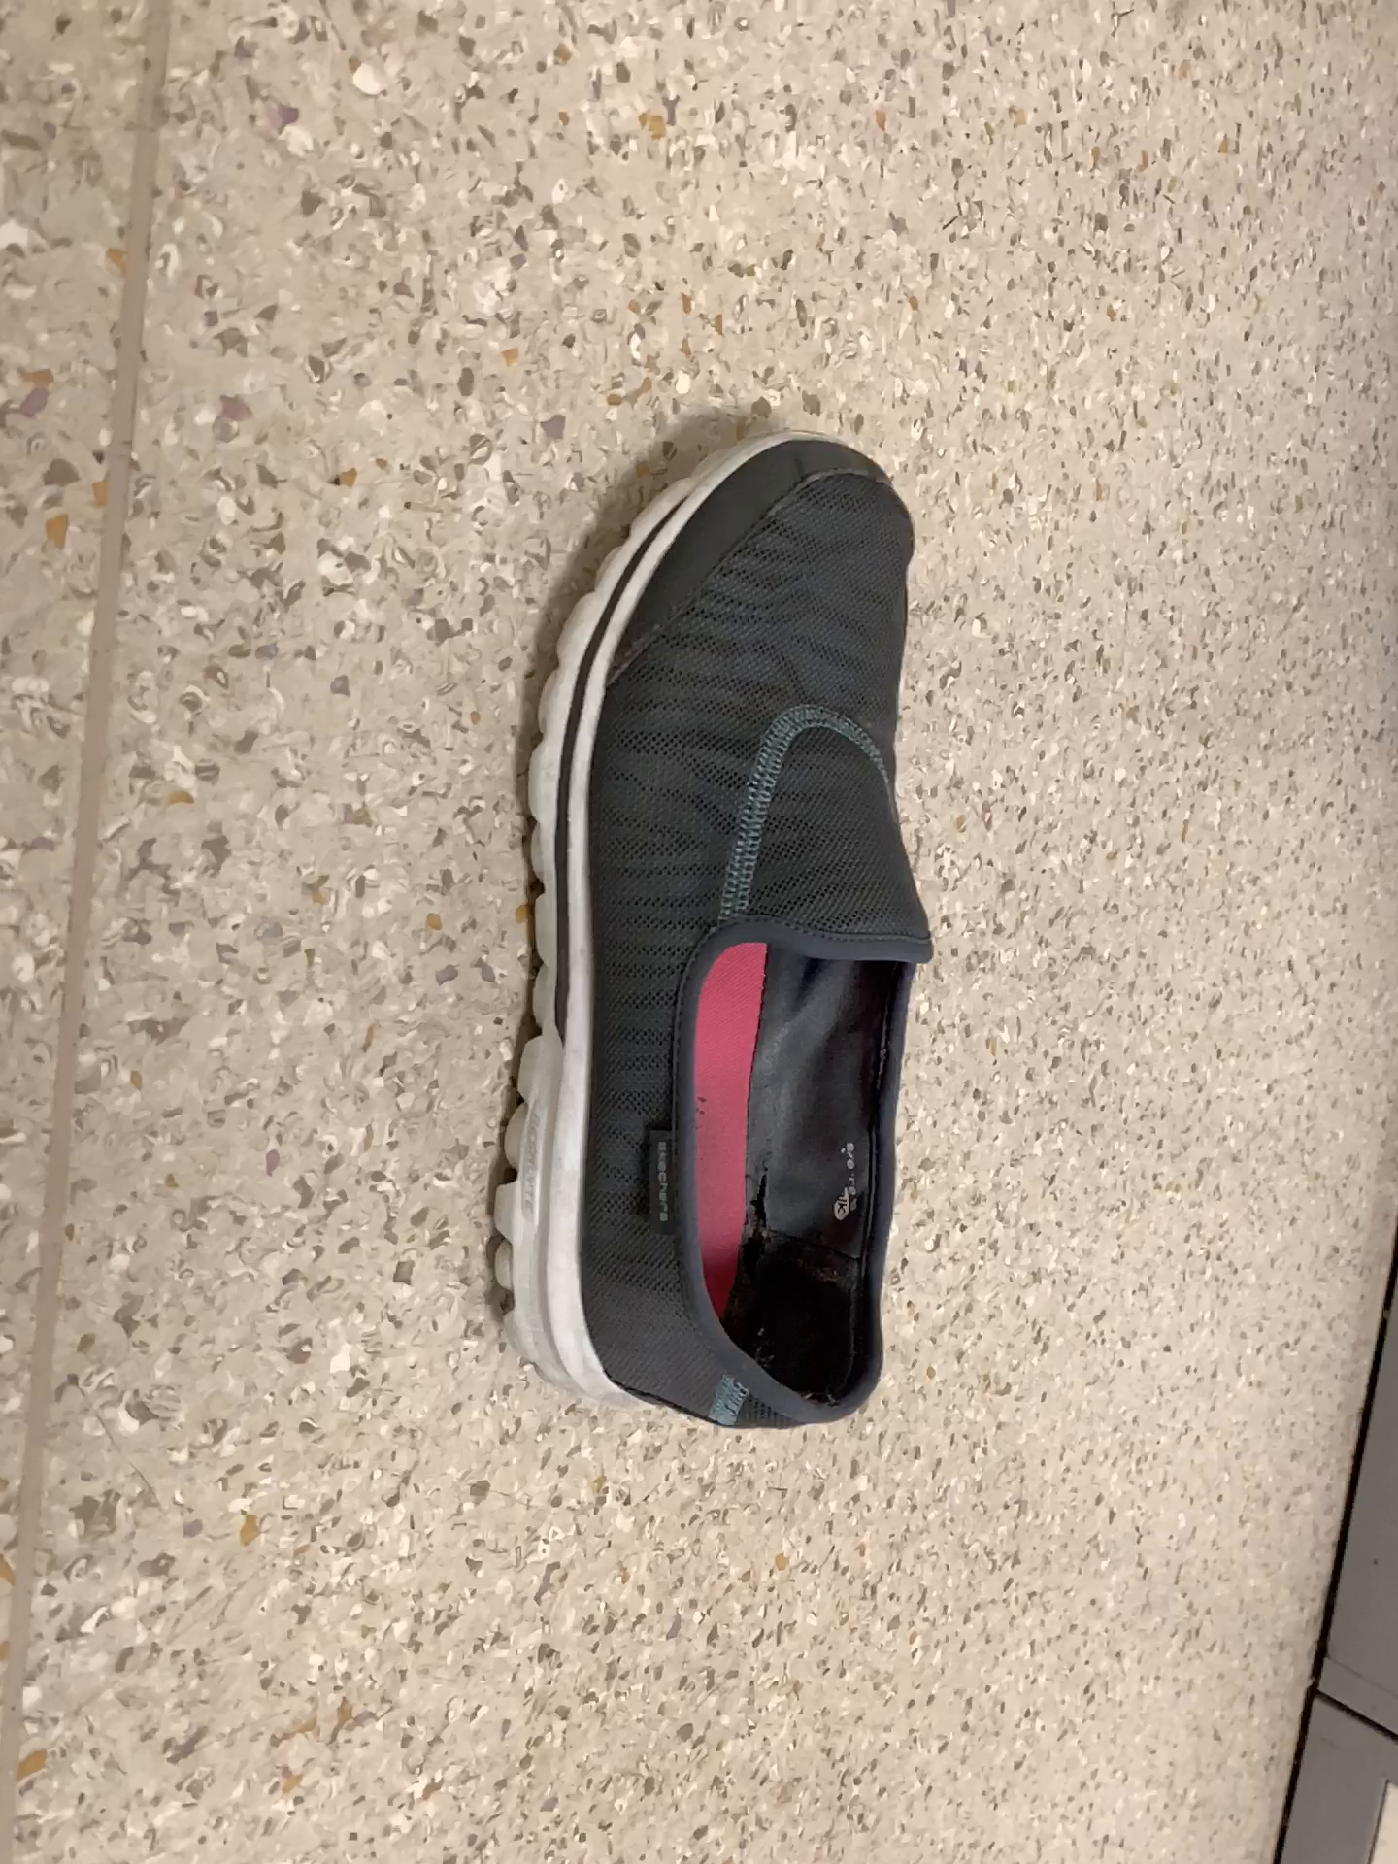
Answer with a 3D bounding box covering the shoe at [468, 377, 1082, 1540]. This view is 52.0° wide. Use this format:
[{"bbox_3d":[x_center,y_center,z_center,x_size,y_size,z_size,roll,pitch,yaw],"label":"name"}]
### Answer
[{"bbox_3d":[0.016,0.004,0.350,0.103,0.075,0.239,-3,103,-43],"label":"shoe"}]
